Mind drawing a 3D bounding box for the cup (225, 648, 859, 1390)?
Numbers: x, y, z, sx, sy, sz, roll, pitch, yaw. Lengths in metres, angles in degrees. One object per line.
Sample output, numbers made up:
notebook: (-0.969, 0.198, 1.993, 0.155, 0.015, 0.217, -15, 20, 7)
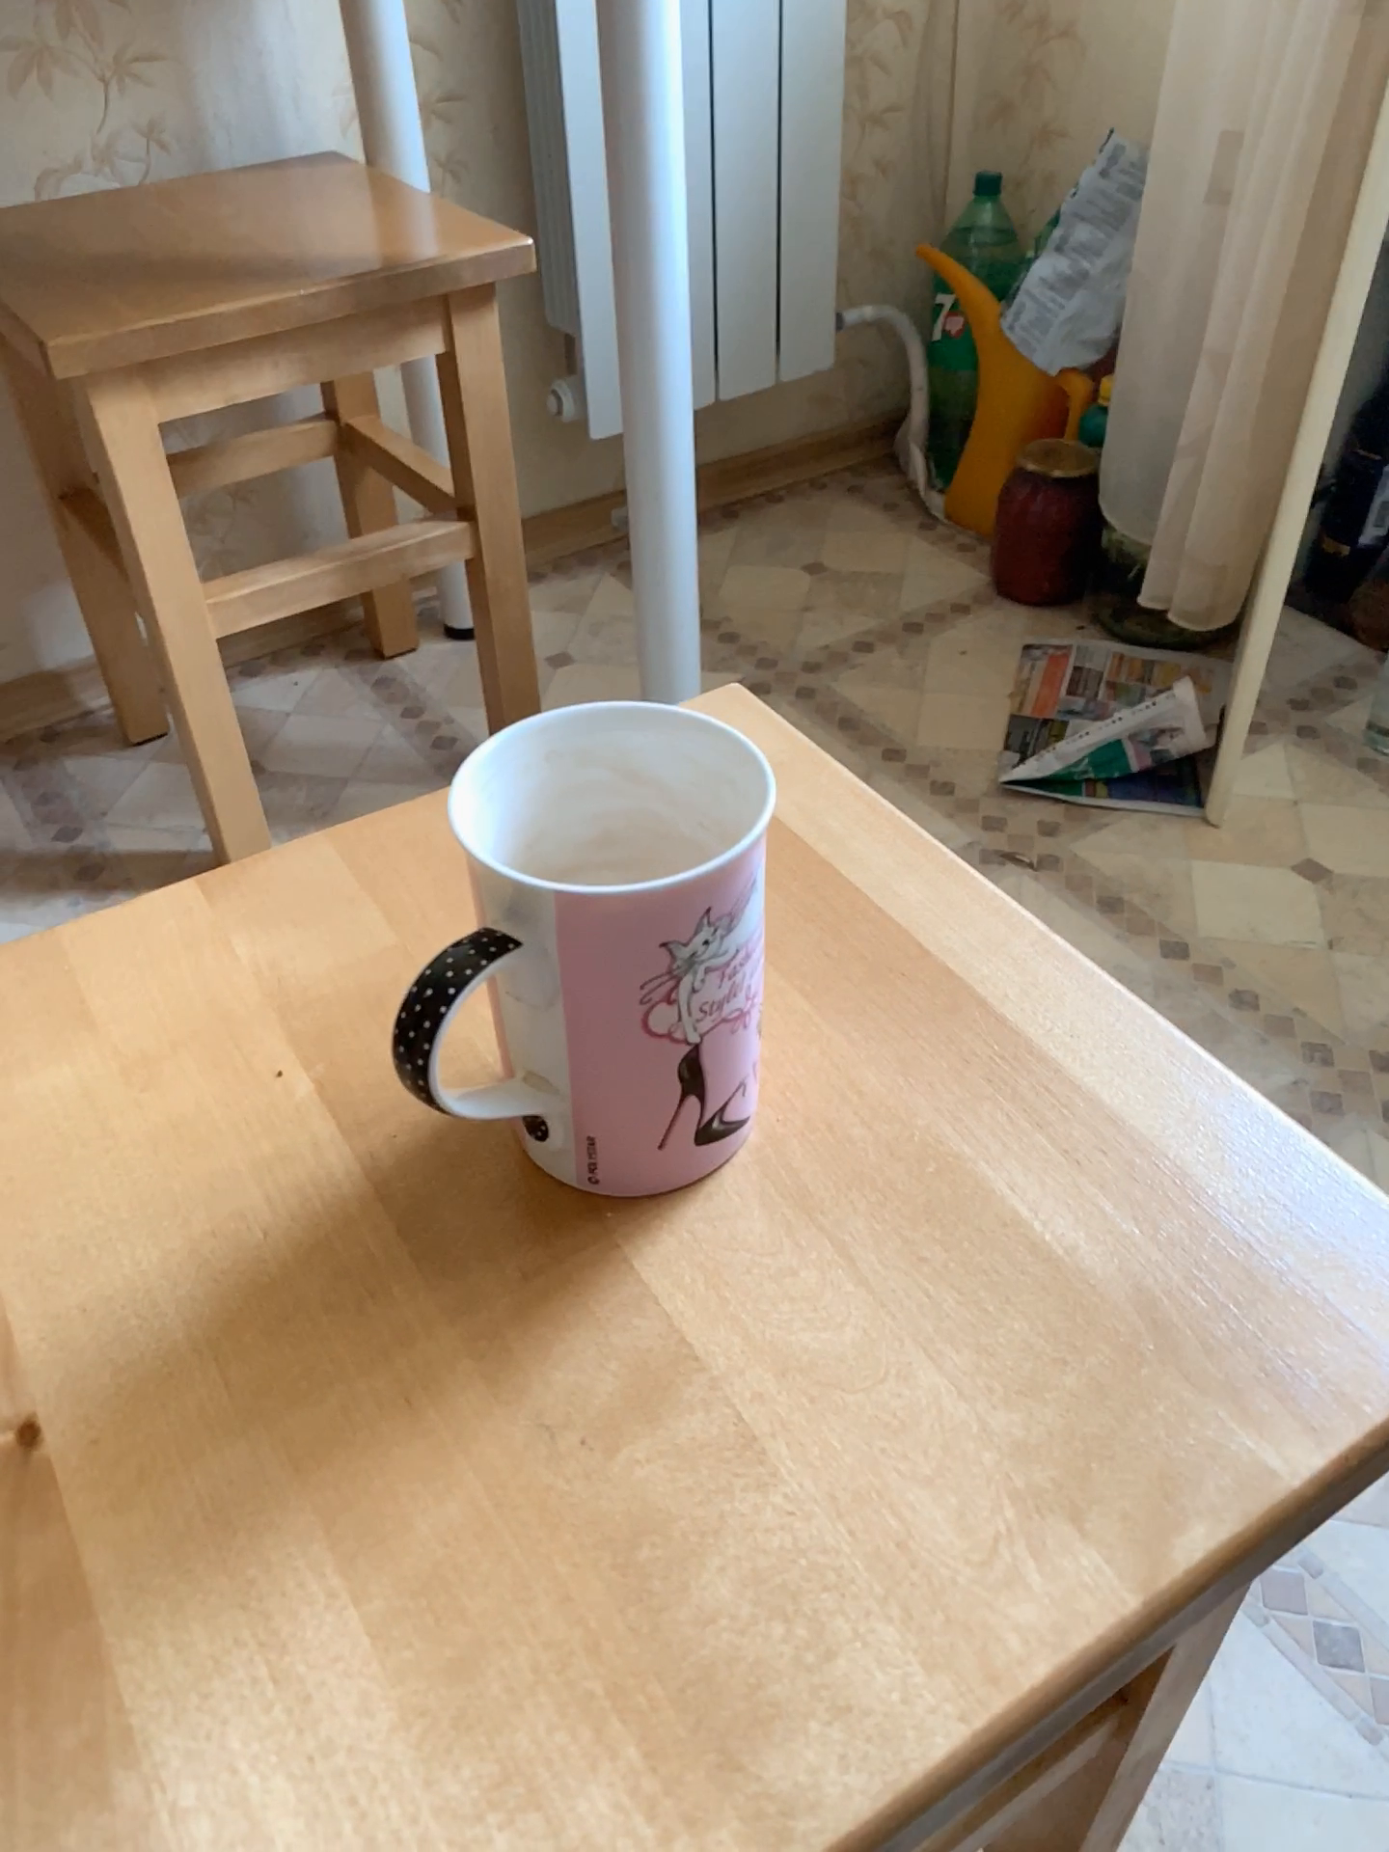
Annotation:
cup: (-0.025, 0.016, 0.330, 0.080, 0.099, 0.121, 19, 44, 22)
